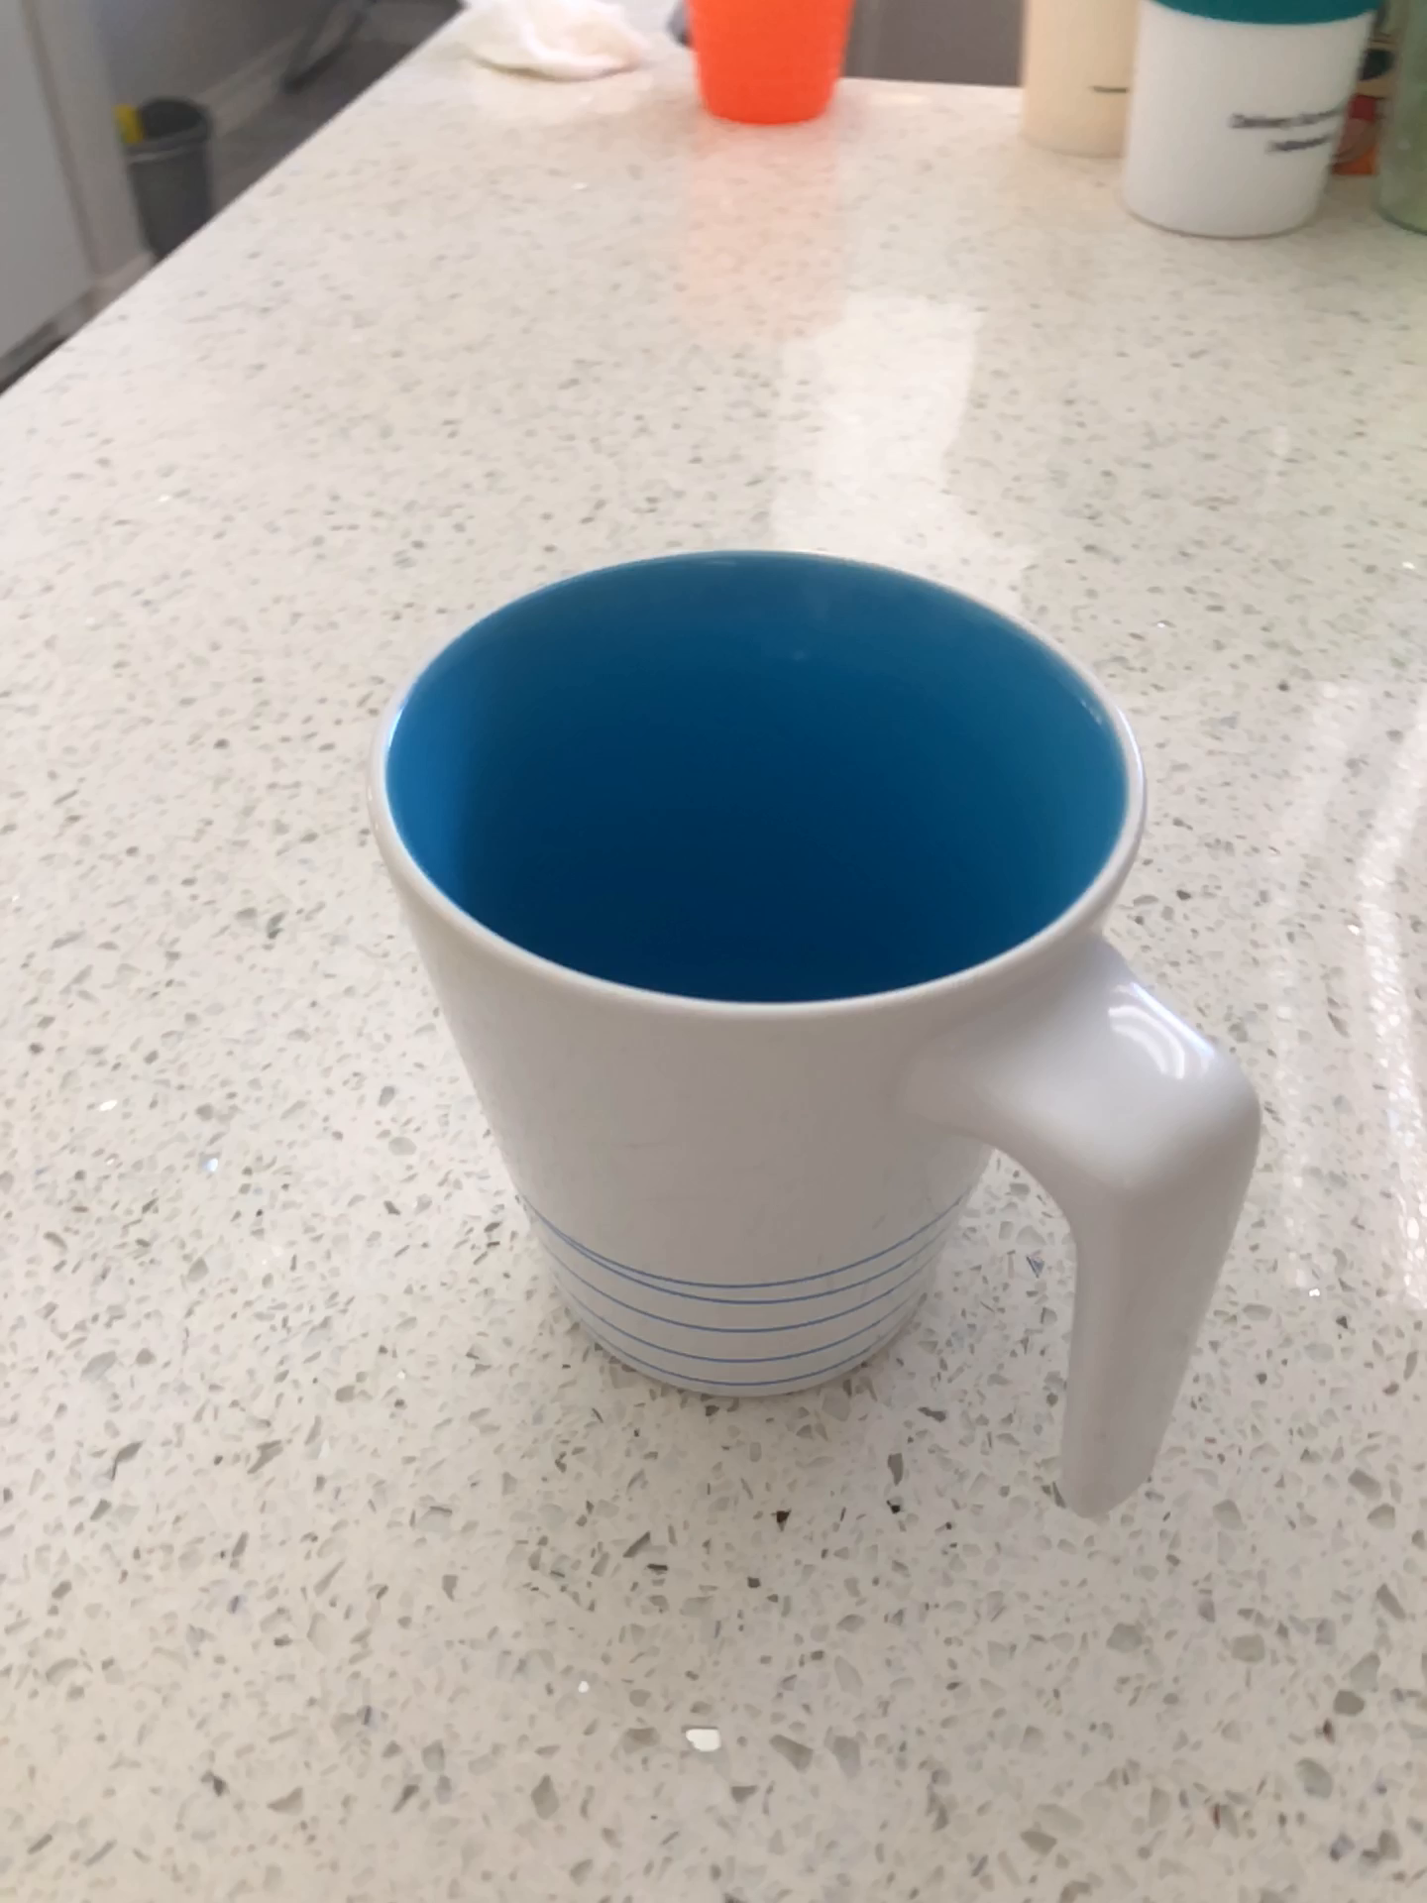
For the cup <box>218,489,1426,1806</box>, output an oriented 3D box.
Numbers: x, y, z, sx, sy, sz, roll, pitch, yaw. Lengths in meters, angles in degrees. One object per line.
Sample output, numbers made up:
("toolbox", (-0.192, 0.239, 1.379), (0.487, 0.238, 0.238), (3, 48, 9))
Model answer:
("cup", (0.020, 0.016, 0.196), (0.120, 0.090, 0.080), (26, 48, 26))
